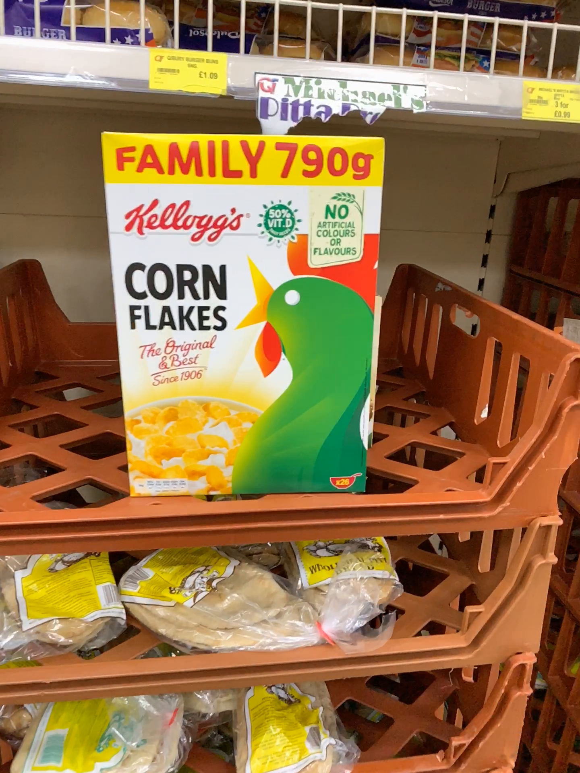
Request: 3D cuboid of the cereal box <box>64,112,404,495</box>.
[{"bbox_3d":[-0.050,-0.070,0.572,0.270,0.338,0.091,0,19,-5],"label":"cereal box"}]
